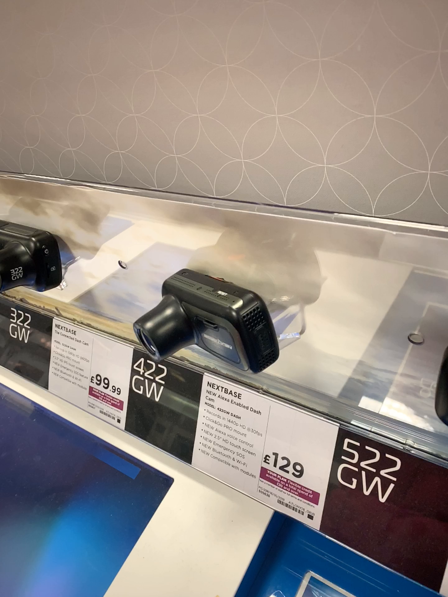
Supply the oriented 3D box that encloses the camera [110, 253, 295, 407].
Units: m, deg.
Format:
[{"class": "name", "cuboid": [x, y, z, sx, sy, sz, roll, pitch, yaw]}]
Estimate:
[{"class": "camera", "cuboid": [-0.015, 0.011, 0.251, 0.050, 0.040, 0.090, -32, 30, -26]}]
